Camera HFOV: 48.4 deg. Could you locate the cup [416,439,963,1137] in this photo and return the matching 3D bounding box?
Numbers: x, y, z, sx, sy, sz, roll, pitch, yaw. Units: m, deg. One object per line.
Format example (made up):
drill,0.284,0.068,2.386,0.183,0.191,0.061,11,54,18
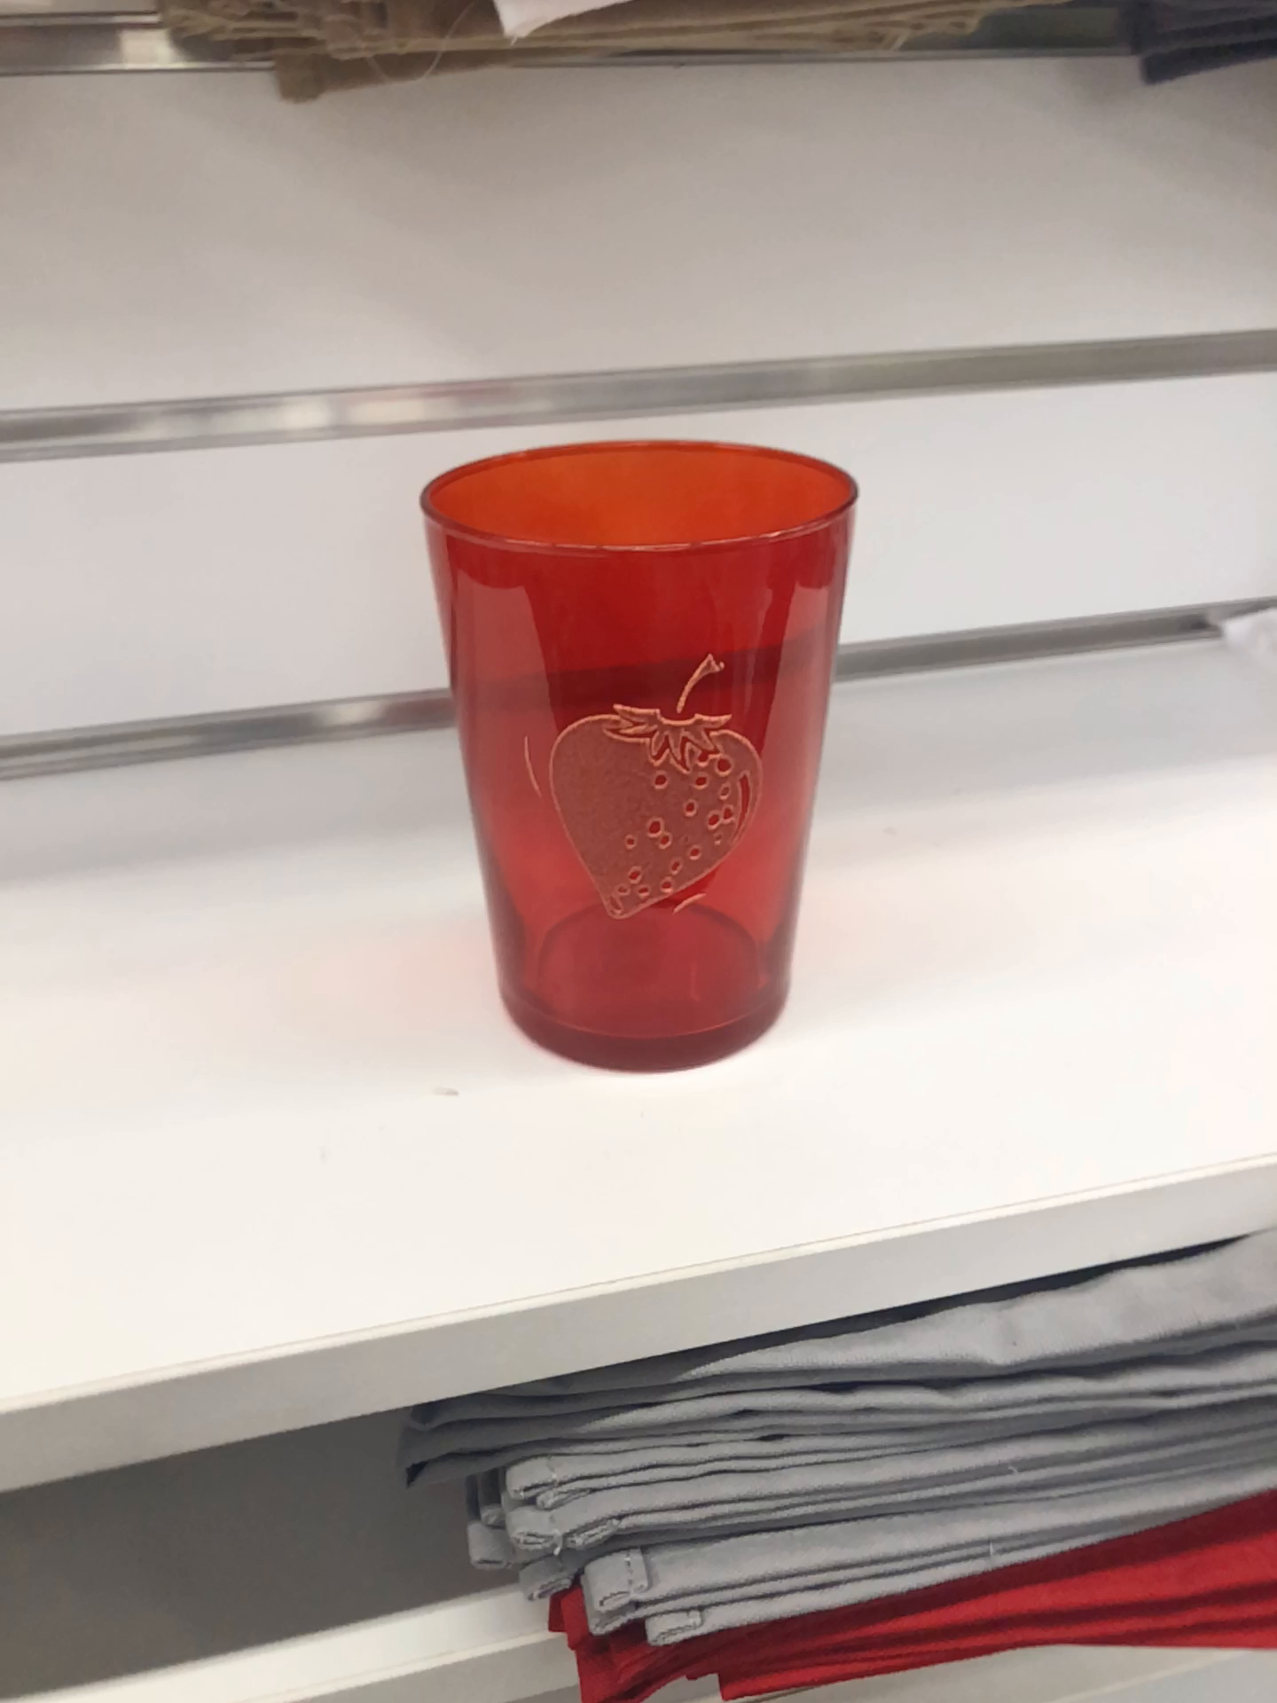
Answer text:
cup,0.006,-0.020,0.320,0.091,0.121,0.091,-1,27,0
